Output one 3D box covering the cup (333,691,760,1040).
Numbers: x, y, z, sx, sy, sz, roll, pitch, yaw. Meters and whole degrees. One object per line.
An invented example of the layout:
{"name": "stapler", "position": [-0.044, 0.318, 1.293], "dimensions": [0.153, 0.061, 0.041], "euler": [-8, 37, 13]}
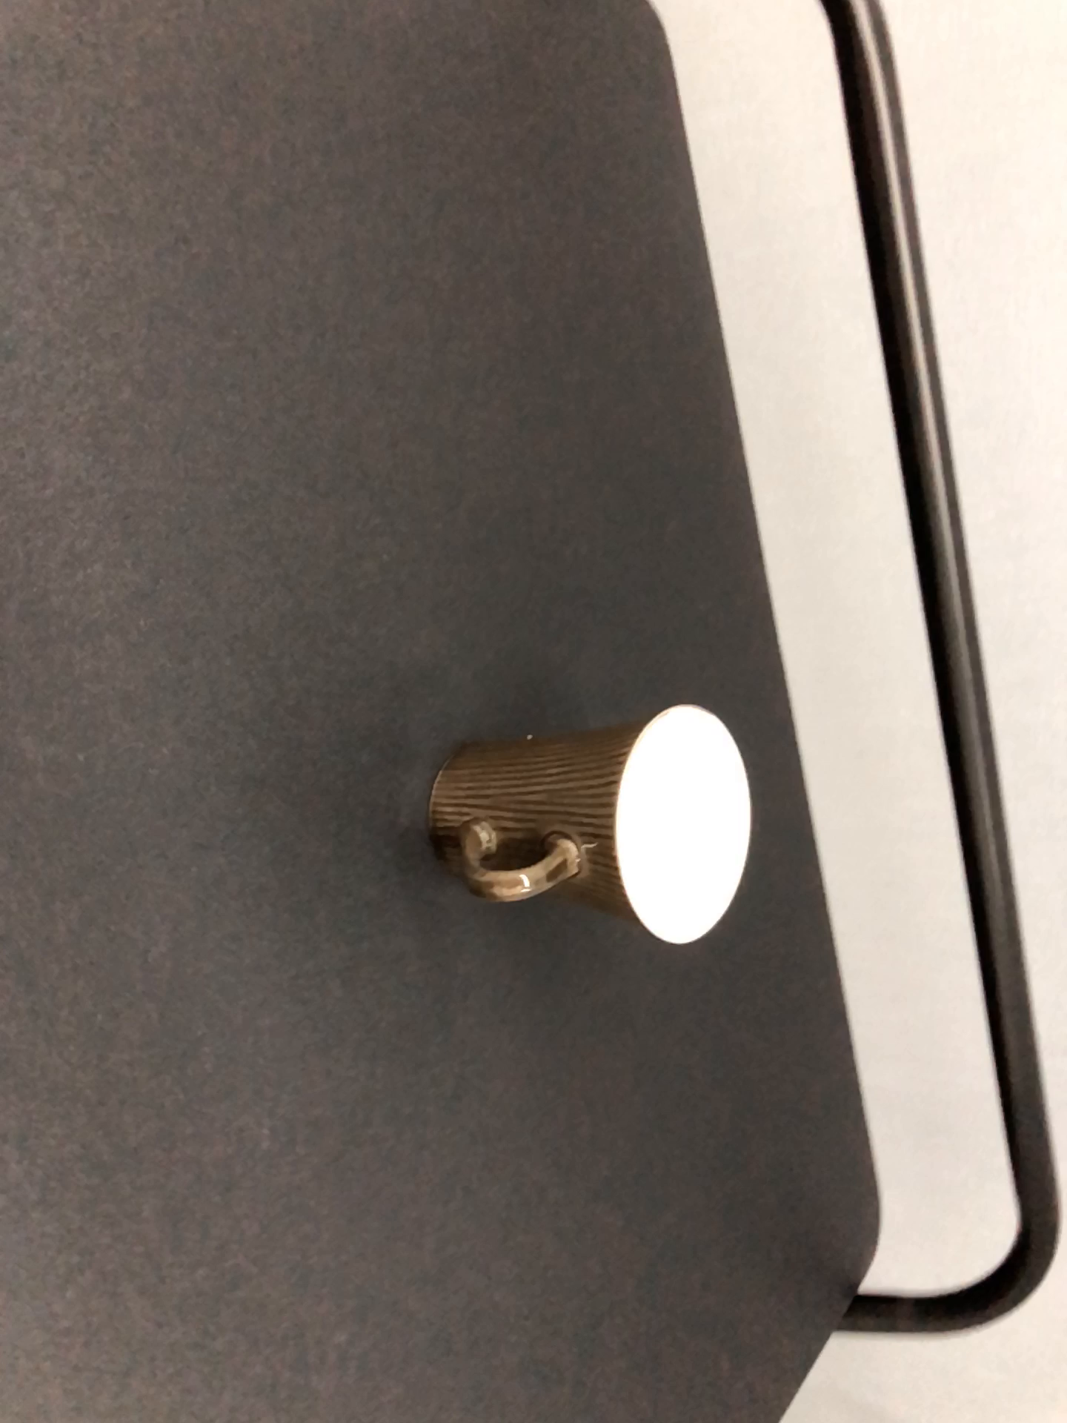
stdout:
{"name": "cup", "position": [0.006, 0.036, 0.327], "dimensions": [0.090, 0.069, 0.065], "euler": [-18, 103, -49]}
